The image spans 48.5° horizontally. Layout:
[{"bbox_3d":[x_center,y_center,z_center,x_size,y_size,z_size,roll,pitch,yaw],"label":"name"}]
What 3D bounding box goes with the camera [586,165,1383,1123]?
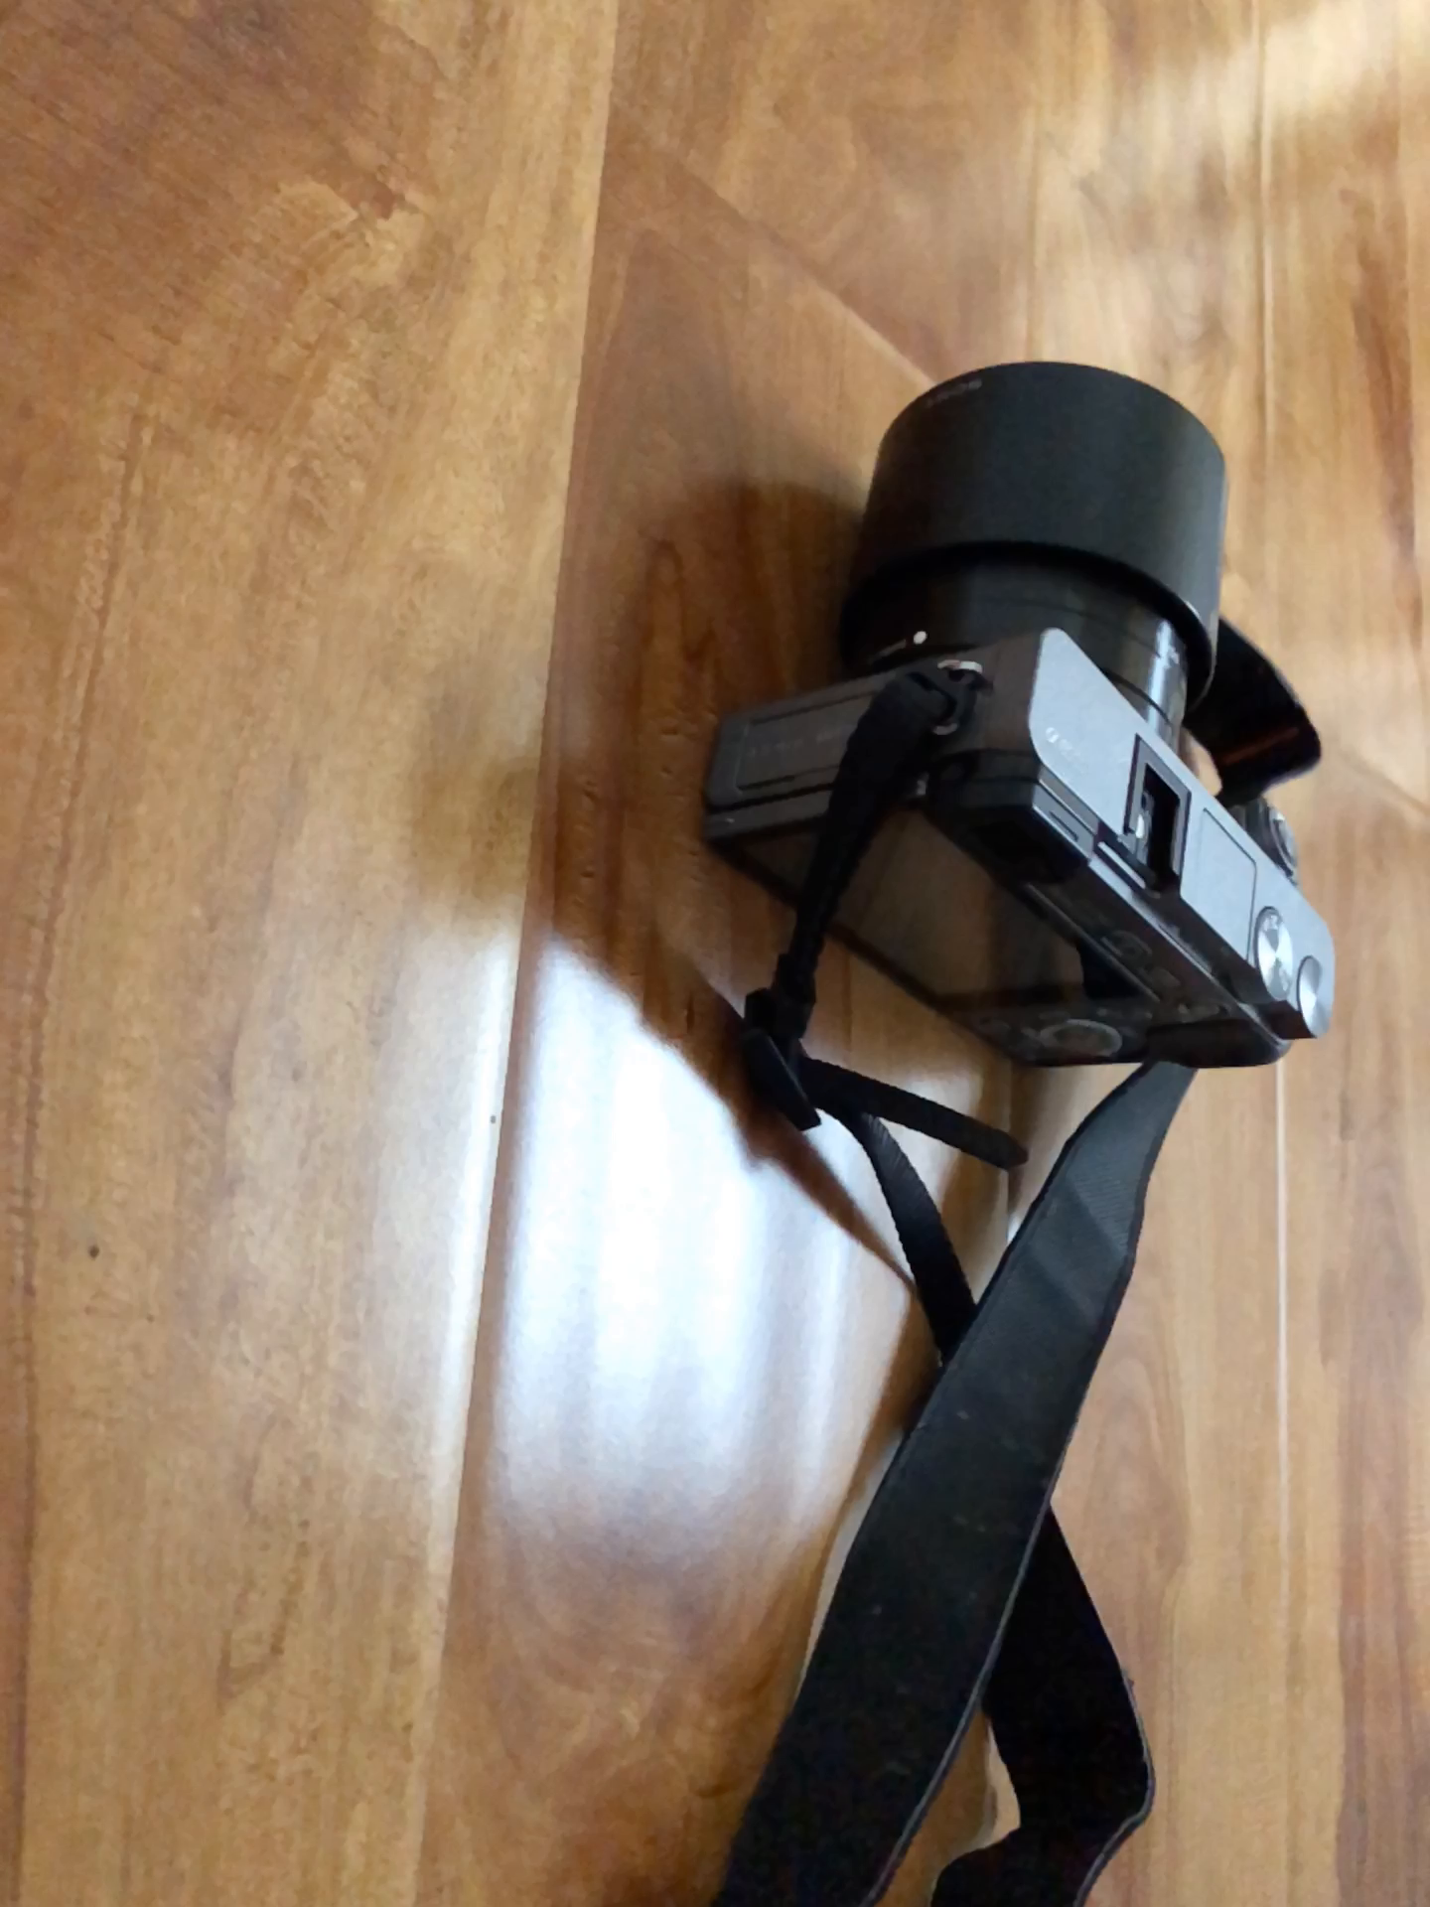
[{"bbox_3d":[0.063,-0.045,0.309,0.141,0.080,0.110,33,59,-41],"label":"camera"}]
